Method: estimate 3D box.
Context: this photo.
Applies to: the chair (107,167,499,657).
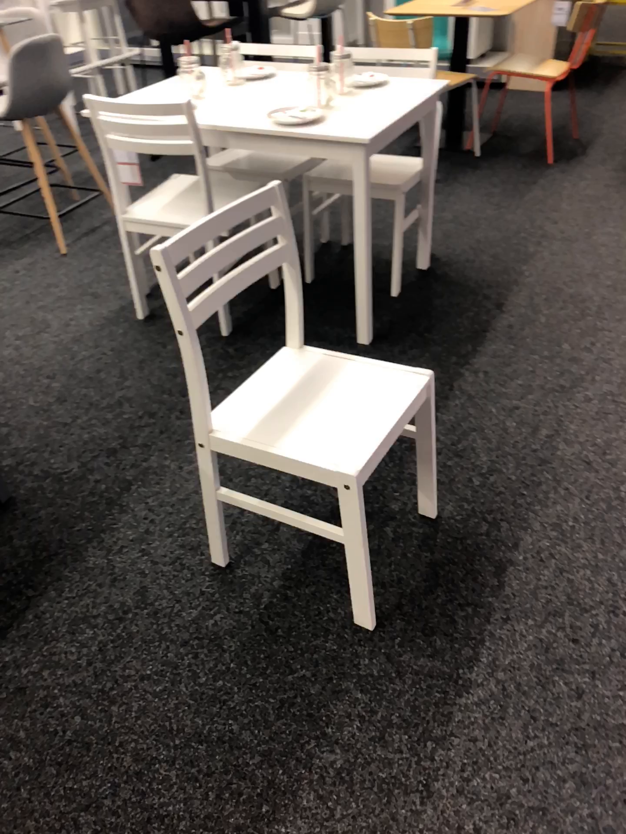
[{"bbox_3d":[0.025,-0.027,1.417,0.500,0.766,0.503,16,41,25],"label":"chair"}]
